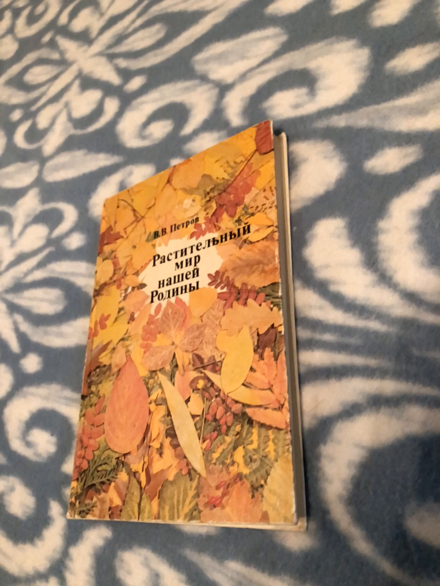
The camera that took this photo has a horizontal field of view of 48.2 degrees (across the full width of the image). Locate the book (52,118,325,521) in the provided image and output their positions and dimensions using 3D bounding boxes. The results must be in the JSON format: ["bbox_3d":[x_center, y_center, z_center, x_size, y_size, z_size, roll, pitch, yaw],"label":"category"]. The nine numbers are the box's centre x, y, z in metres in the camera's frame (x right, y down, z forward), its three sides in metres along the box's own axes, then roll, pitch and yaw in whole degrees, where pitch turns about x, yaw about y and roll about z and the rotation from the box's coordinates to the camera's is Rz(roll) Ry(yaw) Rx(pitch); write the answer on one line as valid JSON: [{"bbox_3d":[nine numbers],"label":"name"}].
[{"bbox_3d":[-0.025,0.017,0.287,0.157,0.020,0.208,-15,63,31],"label":"book"}]
